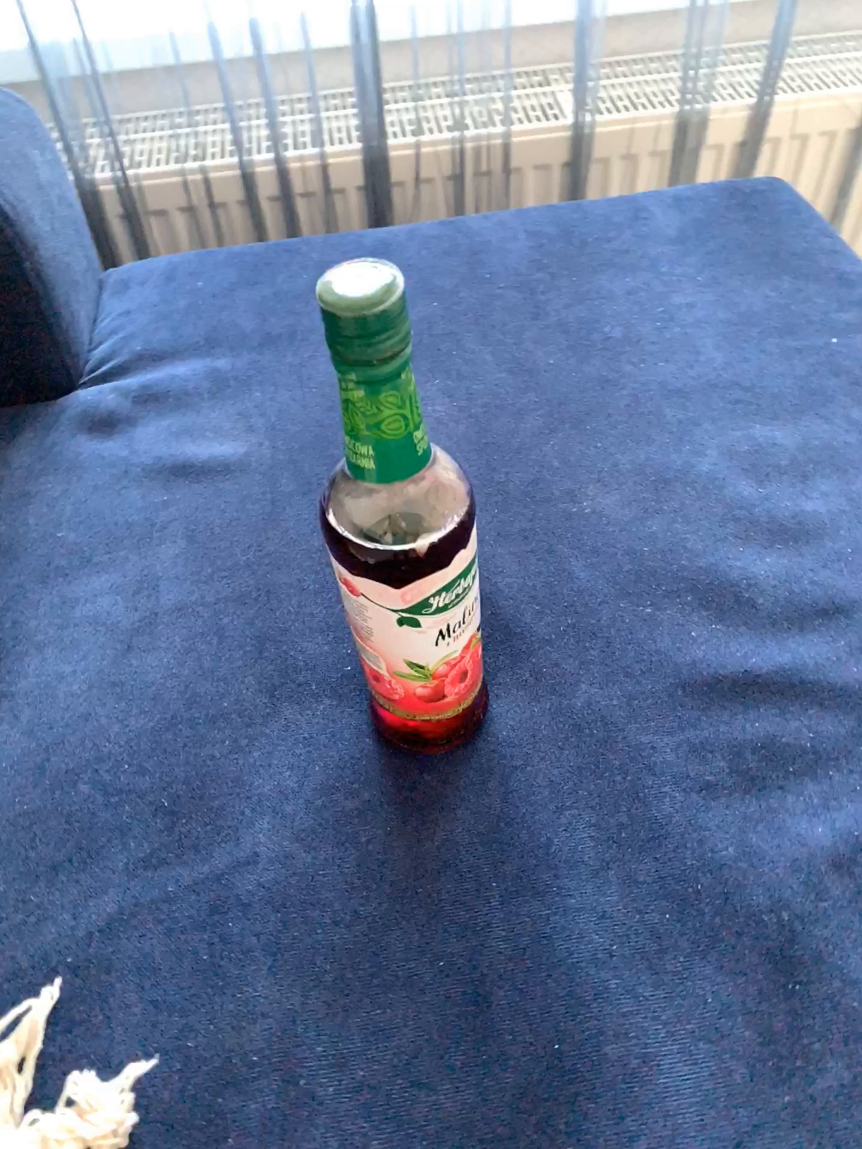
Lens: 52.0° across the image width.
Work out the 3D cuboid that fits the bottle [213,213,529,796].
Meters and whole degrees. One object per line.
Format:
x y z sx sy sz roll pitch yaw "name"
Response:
-0.012 -0.008 0.372 0.070 0.249 0.070 -2 50 2 "bottle"
